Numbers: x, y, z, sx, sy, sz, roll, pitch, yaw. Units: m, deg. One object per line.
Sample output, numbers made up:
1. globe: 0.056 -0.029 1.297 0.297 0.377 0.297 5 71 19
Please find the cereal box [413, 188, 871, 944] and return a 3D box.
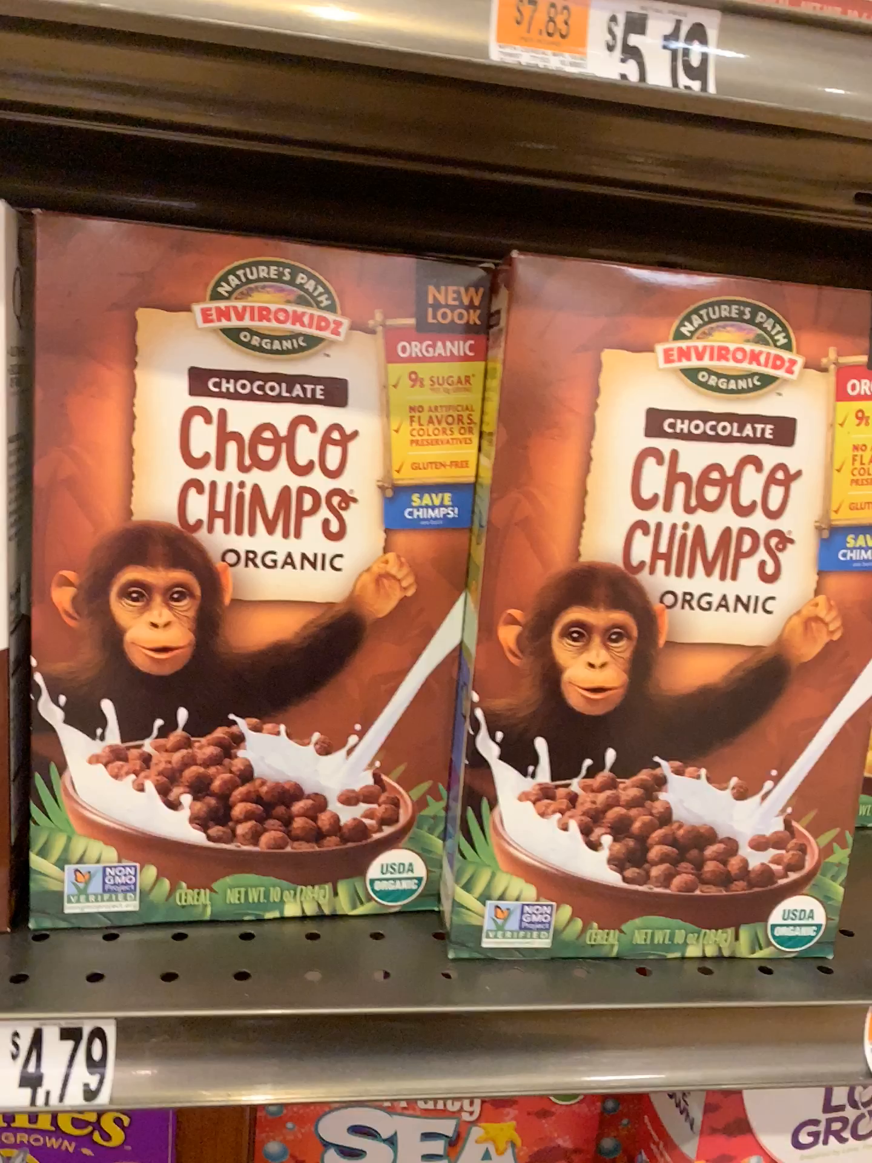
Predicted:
1. cereal box: 0.090 0.004 0.357 0.170 0.269 0.060 4 11 -8
